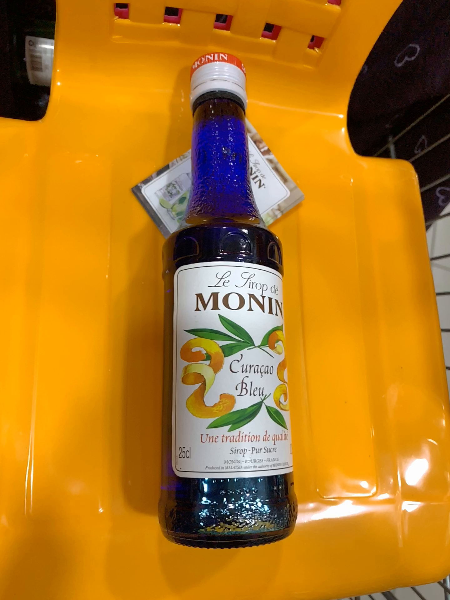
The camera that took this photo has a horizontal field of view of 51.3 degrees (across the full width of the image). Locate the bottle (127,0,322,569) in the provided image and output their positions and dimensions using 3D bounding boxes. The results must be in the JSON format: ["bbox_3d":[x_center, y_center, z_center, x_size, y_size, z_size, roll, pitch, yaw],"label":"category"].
[{"bbox_3d":[-0.003,-0.016,0.203,0.060,0.050,0.220,5,76,-20],"label":"bottle"}]
